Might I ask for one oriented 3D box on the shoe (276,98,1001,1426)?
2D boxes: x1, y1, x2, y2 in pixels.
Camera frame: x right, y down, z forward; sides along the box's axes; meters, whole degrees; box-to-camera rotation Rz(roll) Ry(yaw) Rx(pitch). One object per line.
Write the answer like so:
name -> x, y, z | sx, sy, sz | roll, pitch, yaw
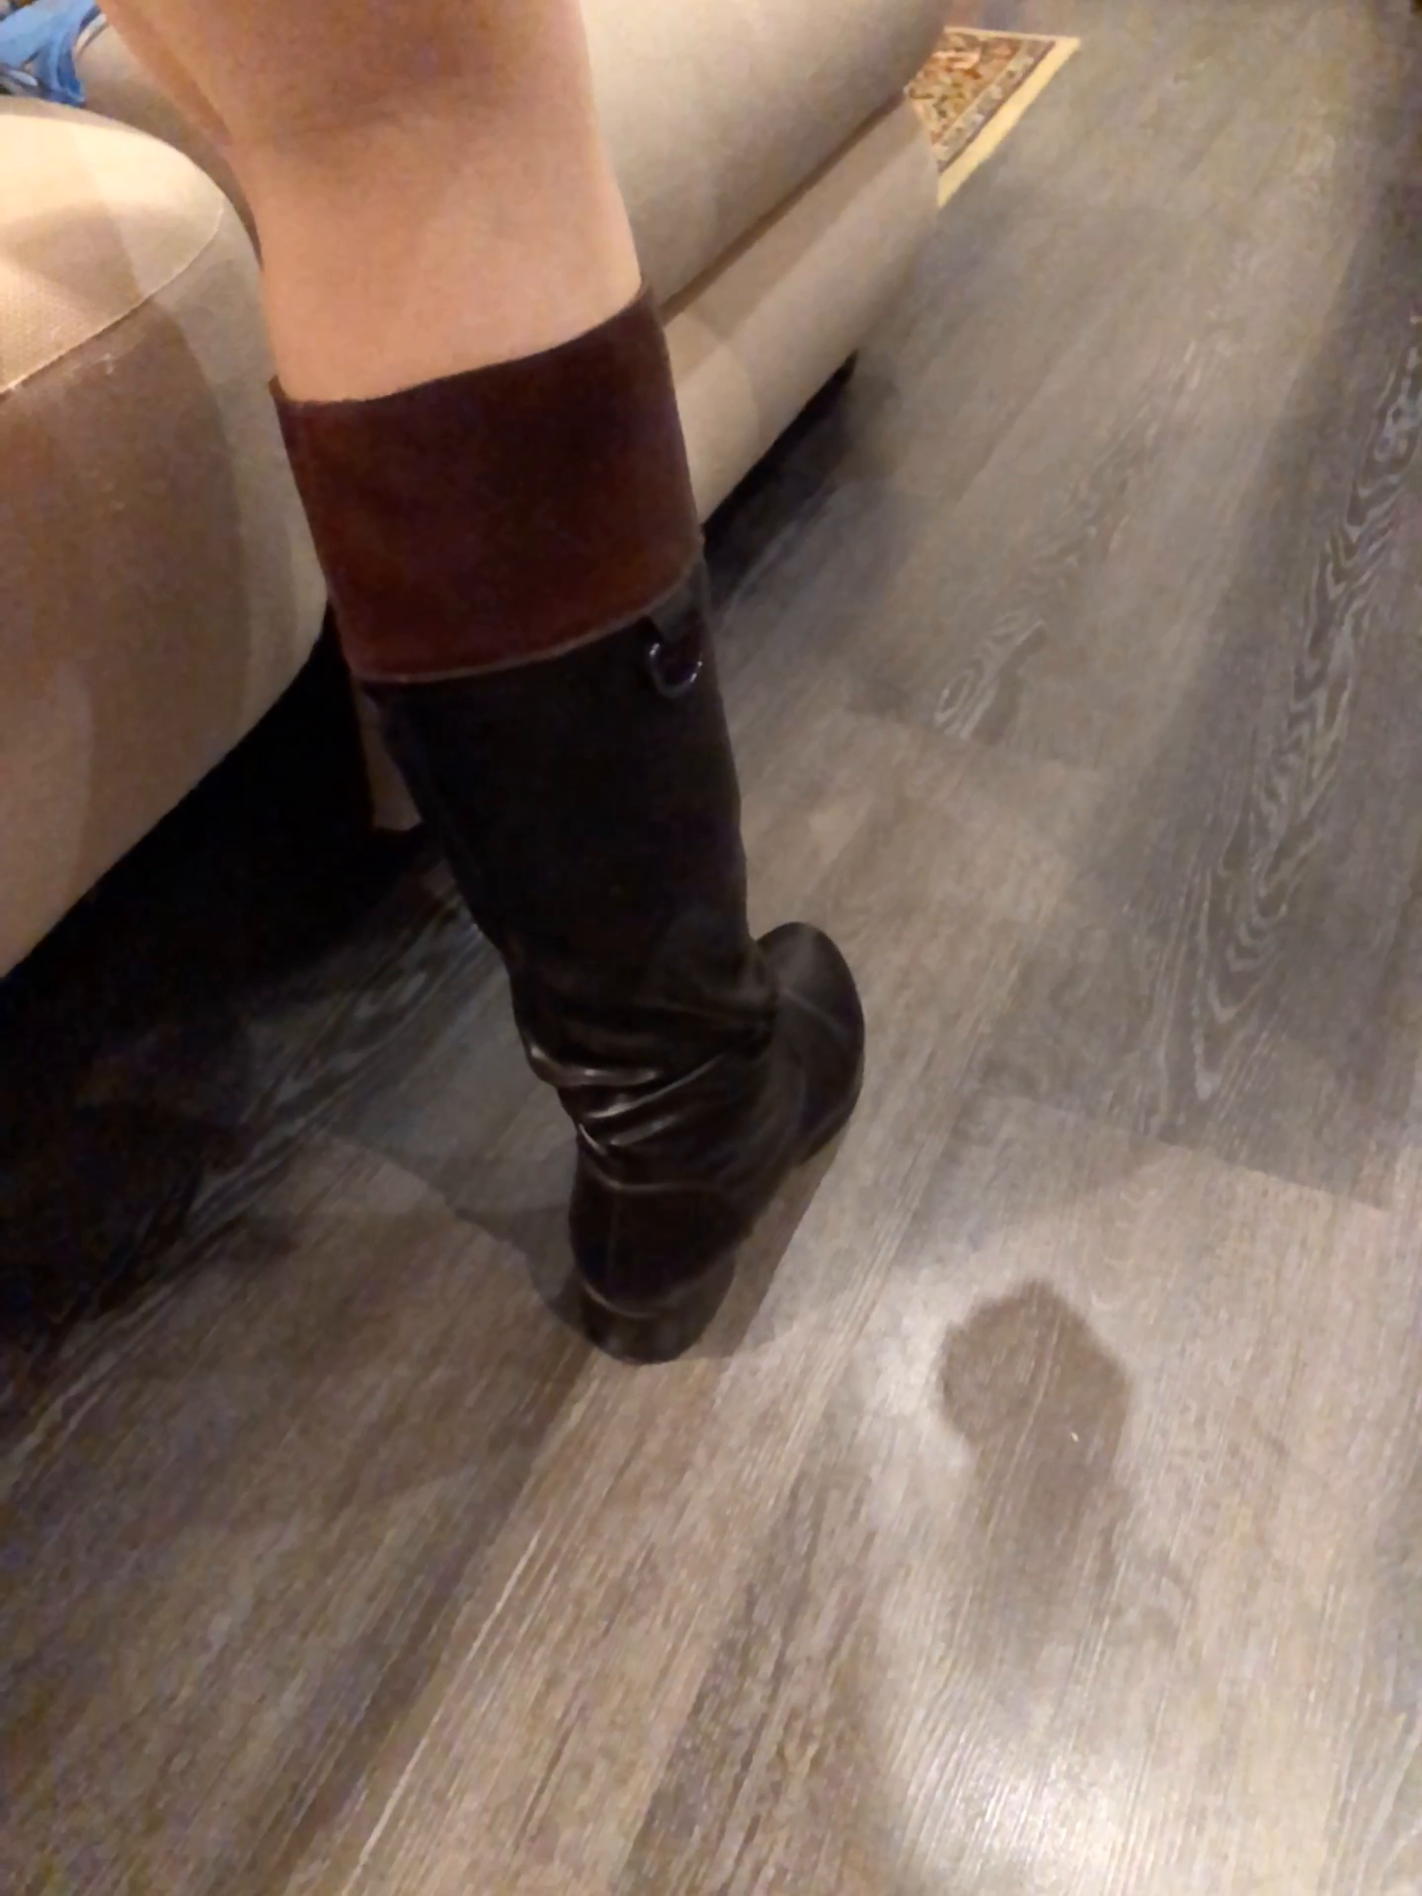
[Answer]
shoe -> 0.003, -0.056, 0.605 | 0.110, 0.417, 0.271 | 15, 46, 18
